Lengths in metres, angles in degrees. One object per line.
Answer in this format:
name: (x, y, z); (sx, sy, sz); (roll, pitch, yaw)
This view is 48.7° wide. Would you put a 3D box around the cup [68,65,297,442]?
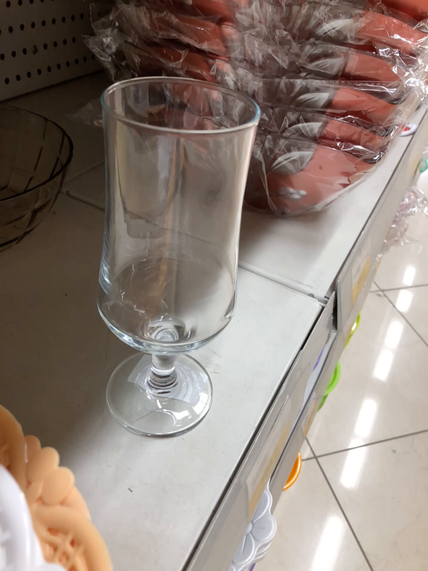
cup: (-0.025, -0.006, 0.247); (0.079, 0.177, 0.079); (5, 39, -4)
